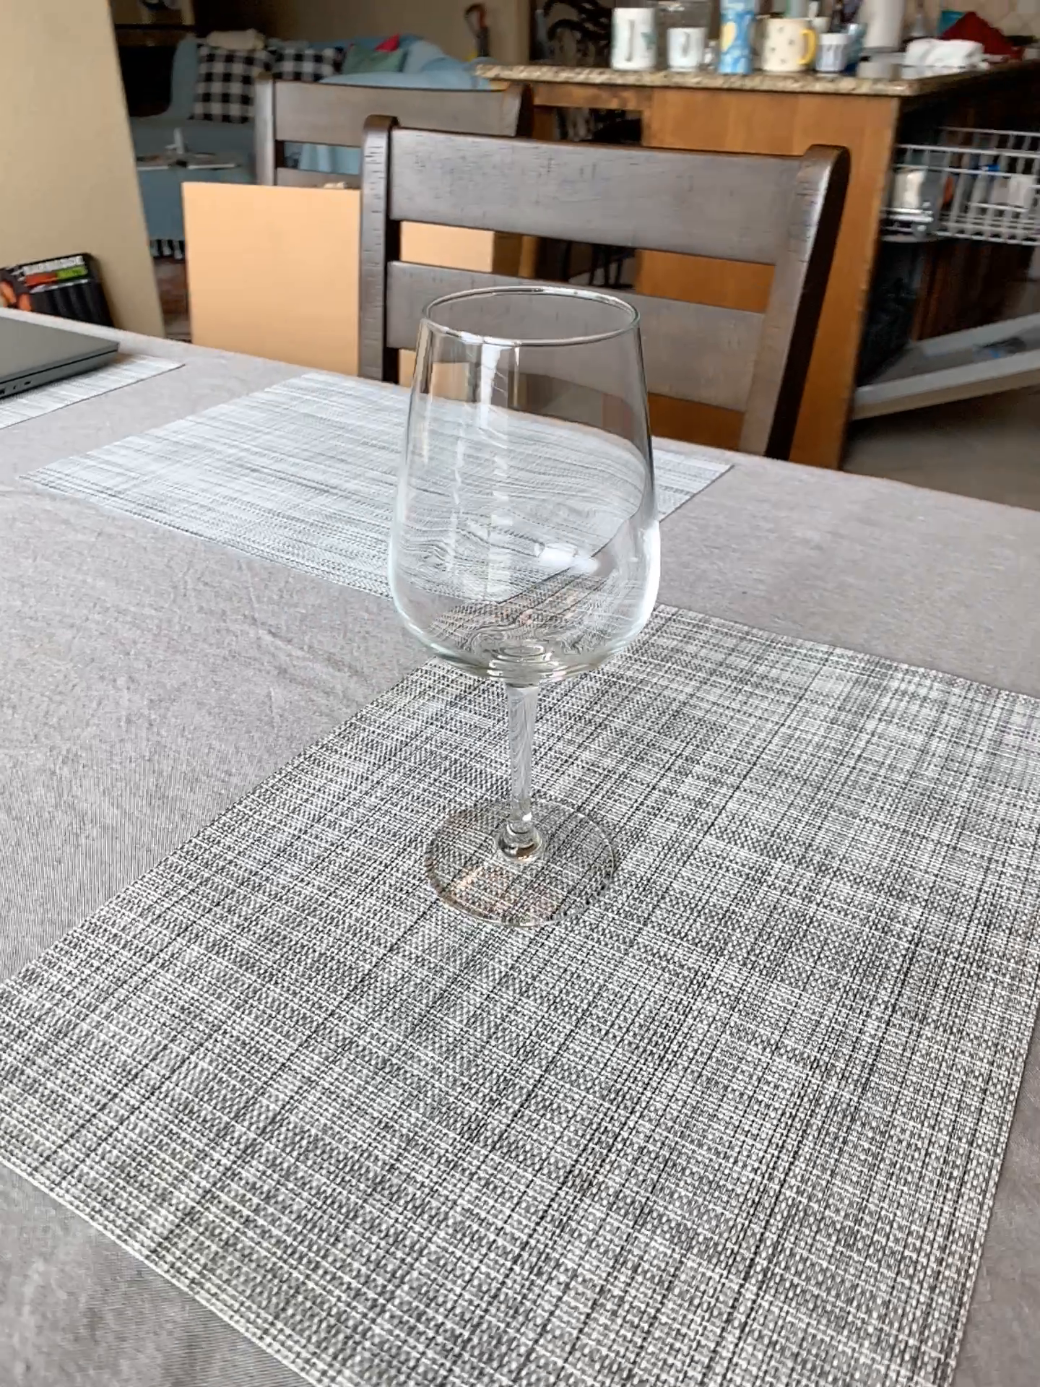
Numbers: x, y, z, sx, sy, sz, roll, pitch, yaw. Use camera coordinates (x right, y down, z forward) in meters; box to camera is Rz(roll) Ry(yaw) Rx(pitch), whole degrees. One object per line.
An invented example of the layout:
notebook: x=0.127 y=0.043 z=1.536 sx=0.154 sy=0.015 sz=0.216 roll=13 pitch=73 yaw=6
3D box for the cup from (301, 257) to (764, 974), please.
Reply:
cup: x=0.006 y=-0.030 z=0.386 sx=0.100 sy=0.214 sz=0.107 roll=1 pitch=32 yaw=0
